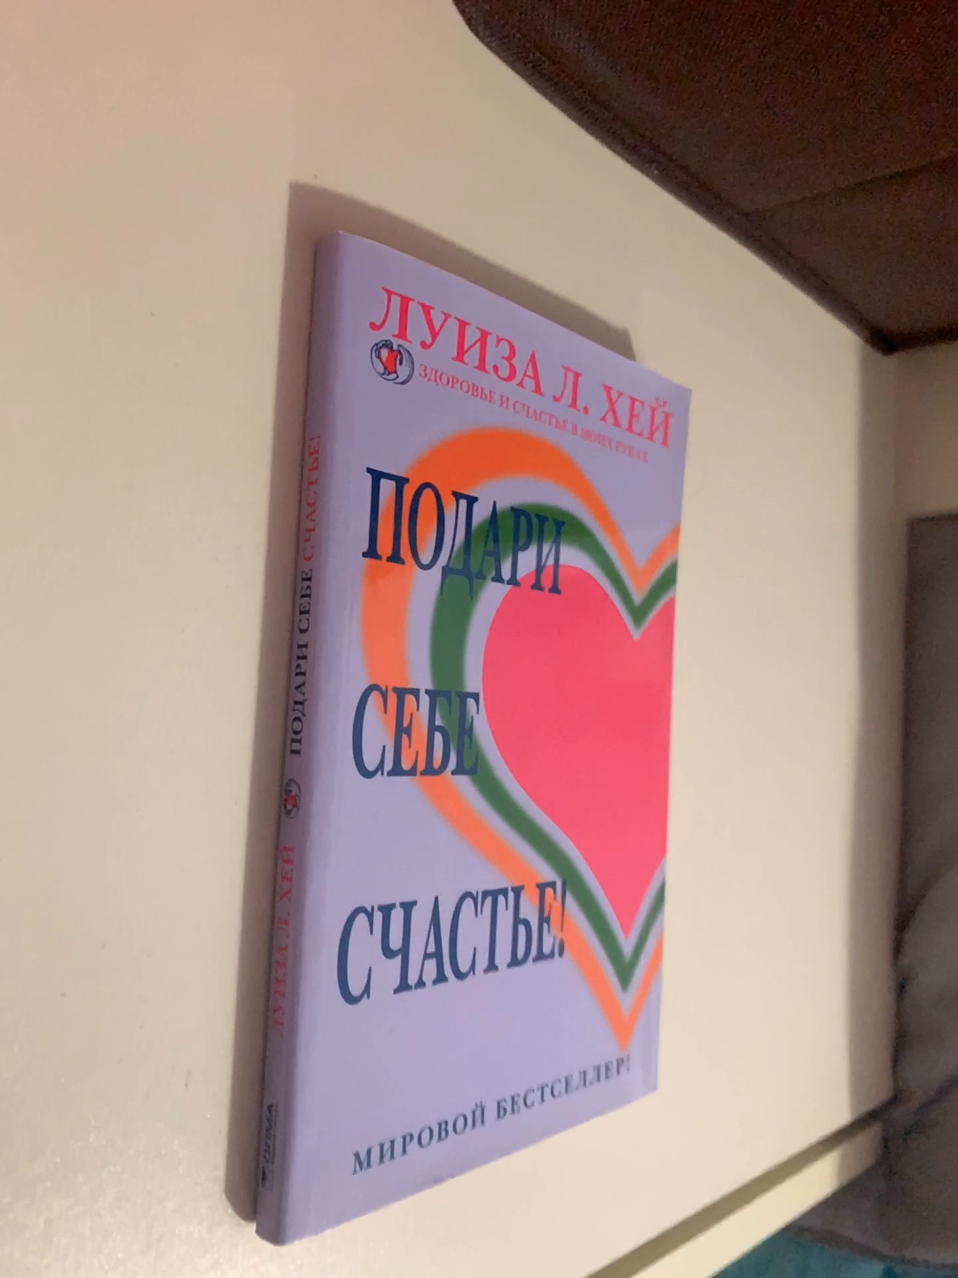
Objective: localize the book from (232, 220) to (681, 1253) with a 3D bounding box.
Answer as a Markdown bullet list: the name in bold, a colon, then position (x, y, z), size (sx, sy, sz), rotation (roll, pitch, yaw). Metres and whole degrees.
- **book**: position (0.005, 0.020, 0.239), size (0.124, 0.016, 0.194), rotation (7, 85, -46)
